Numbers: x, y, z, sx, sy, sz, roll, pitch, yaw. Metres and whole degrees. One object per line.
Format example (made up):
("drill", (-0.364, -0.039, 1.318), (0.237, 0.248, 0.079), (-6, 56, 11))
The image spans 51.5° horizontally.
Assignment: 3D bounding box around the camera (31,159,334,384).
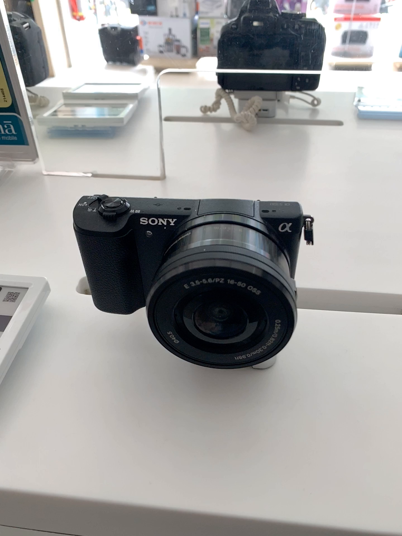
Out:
("camera", (-0.004, 0.000, 0.198), (0.110, 0.080, 0.060), (4, 39, 6))
